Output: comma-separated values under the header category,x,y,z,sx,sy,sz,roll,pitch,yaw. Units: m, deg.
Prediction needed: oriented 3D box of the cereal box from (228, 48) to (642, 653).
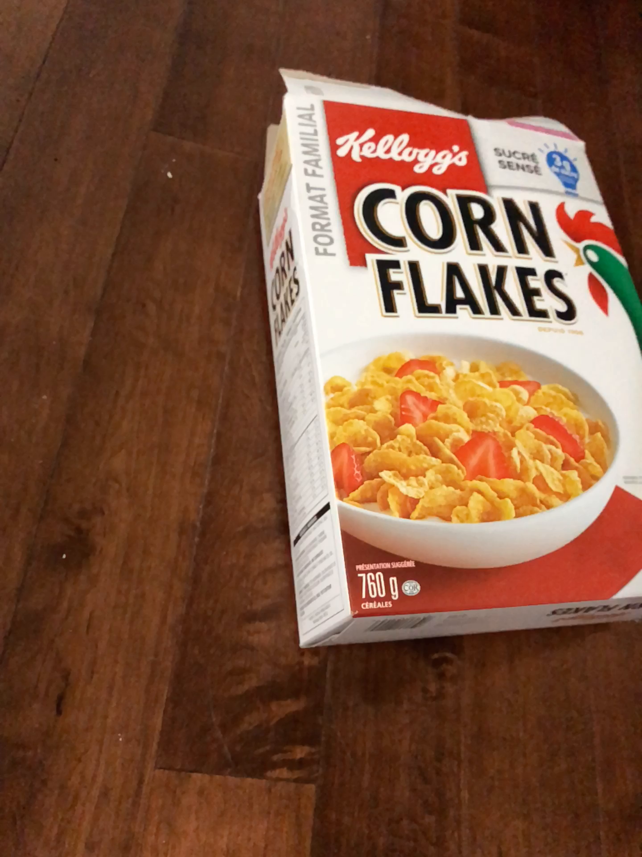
category,x,y,z,sx,sy,sz,roll,pitch,yaw
cereal box,0.084,-0.061,0.484,0.260,0.090,0.380,1,66,-17
